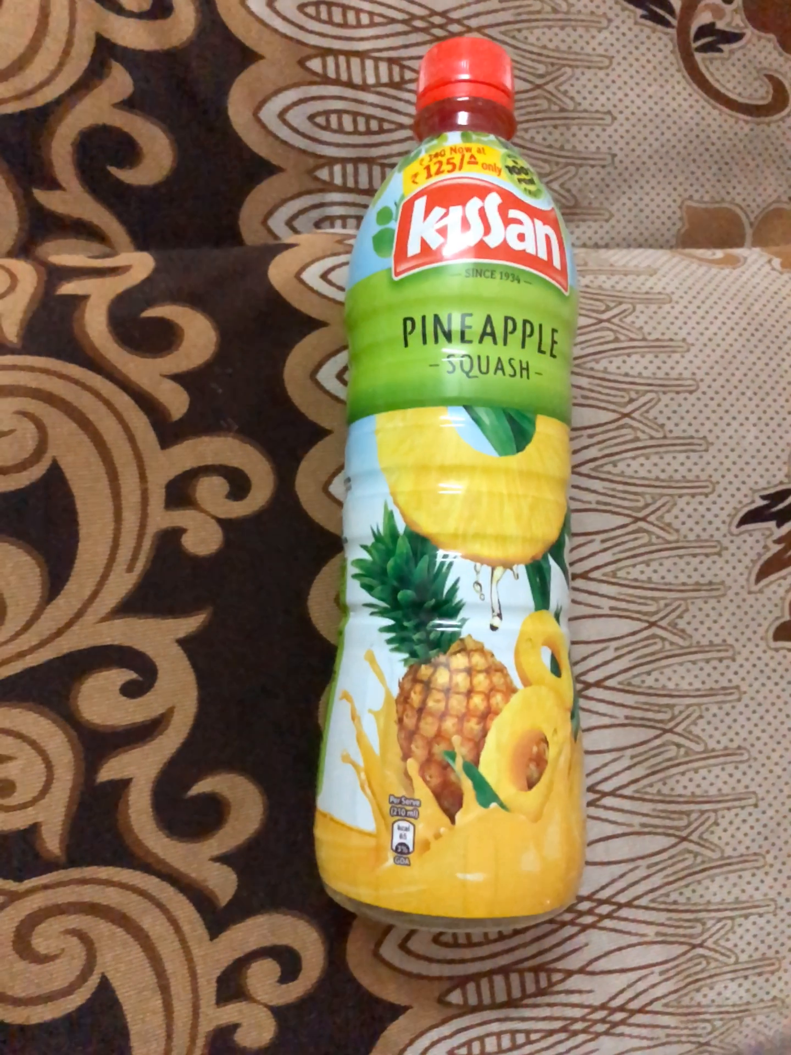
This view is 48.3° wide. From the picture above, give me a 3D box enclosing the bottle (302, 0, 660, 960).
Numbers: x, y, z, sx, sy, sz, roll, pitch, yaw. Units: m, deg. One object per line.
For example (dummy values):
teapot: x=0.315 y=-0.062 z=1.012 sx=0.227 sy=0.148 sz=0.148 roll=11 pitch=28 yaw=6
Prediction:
bottle: x=0.022 y=-0.023 z=0.237 sx=0.070 sy=0.060 sz=0.240 roll=4 pitch=84 yaw=-16
